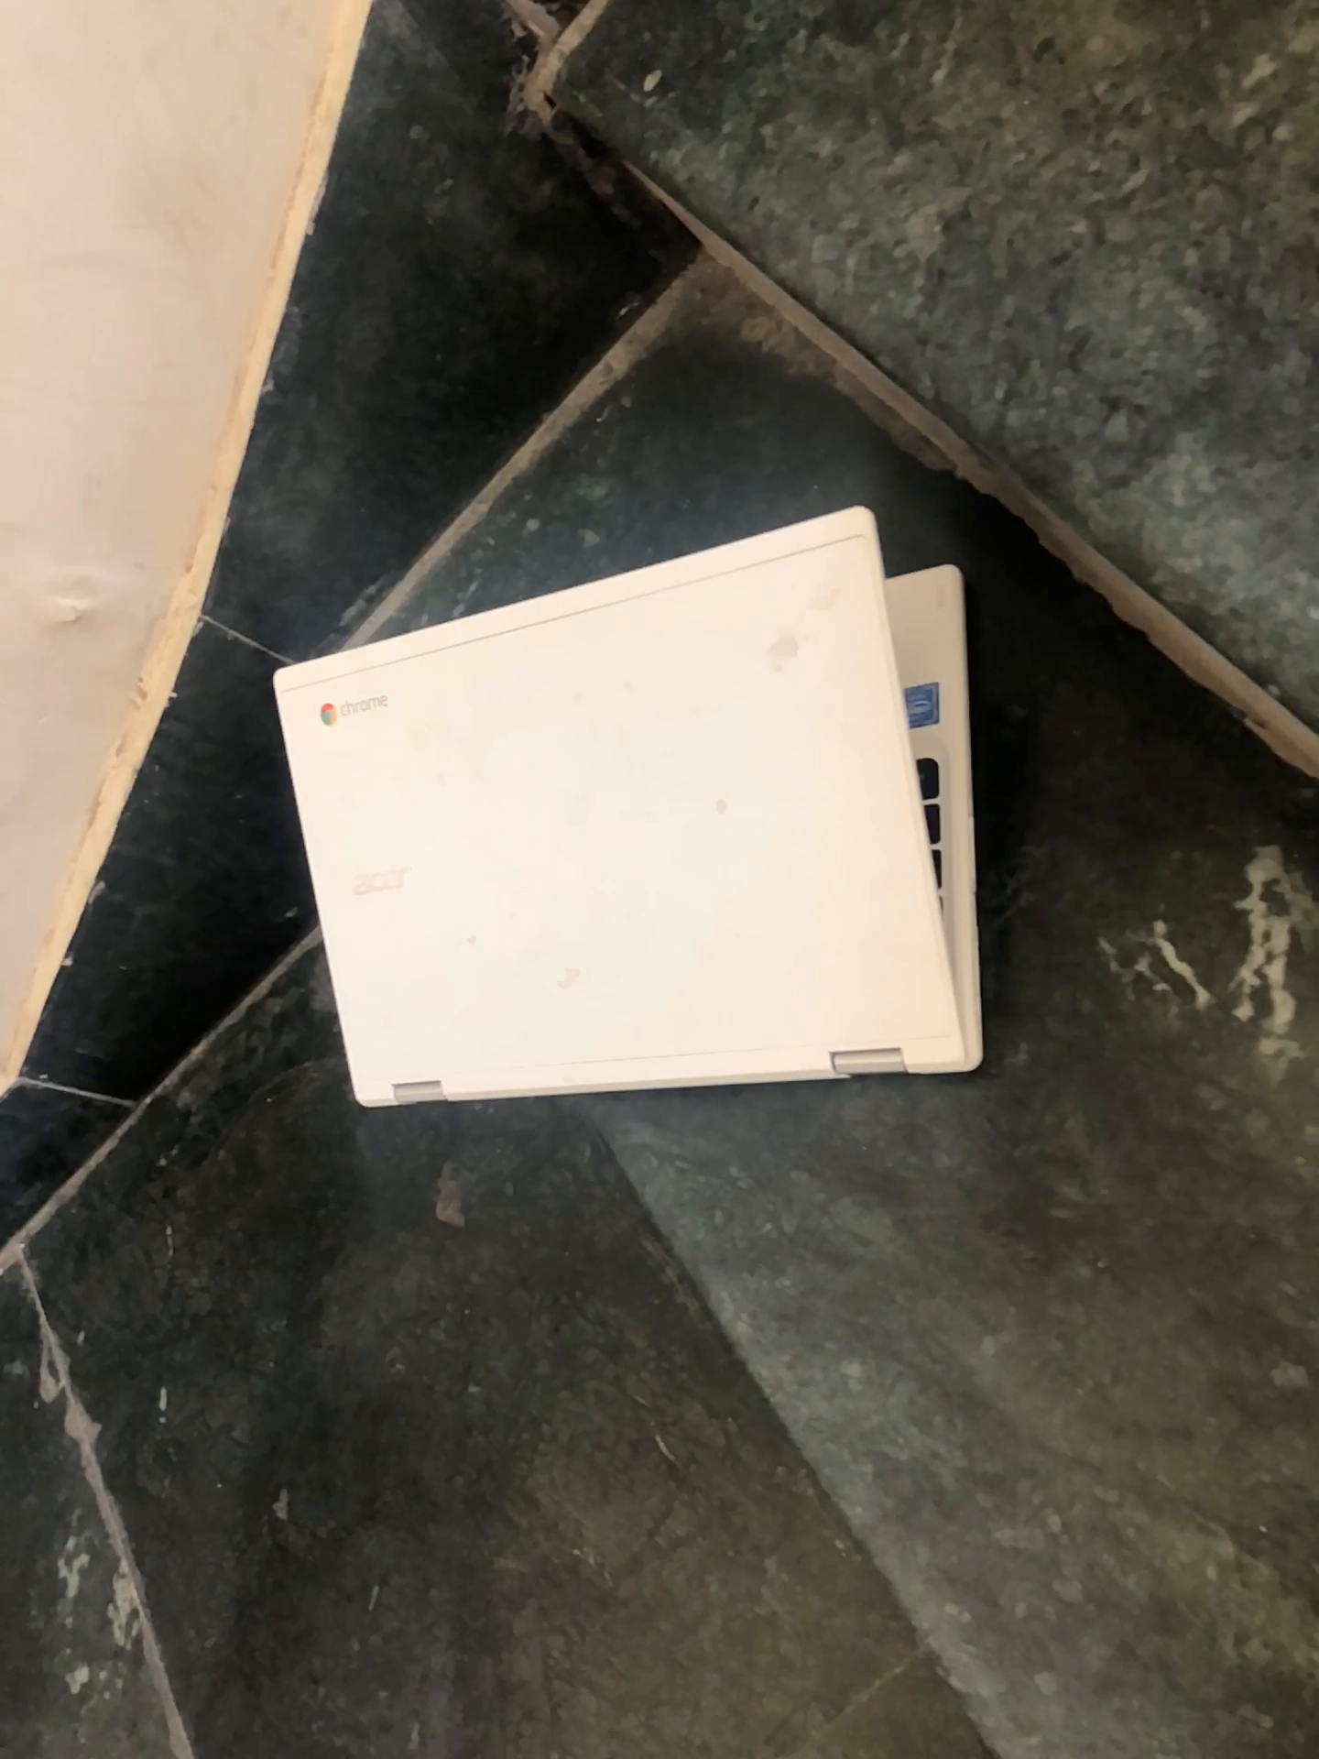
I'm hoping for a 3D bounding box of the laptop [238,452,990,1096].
[{"bbox_3d":[-0.029,-0.023,0.576,0.283,0.091,0.190,-9,73,30],"label":"laptop"}]
